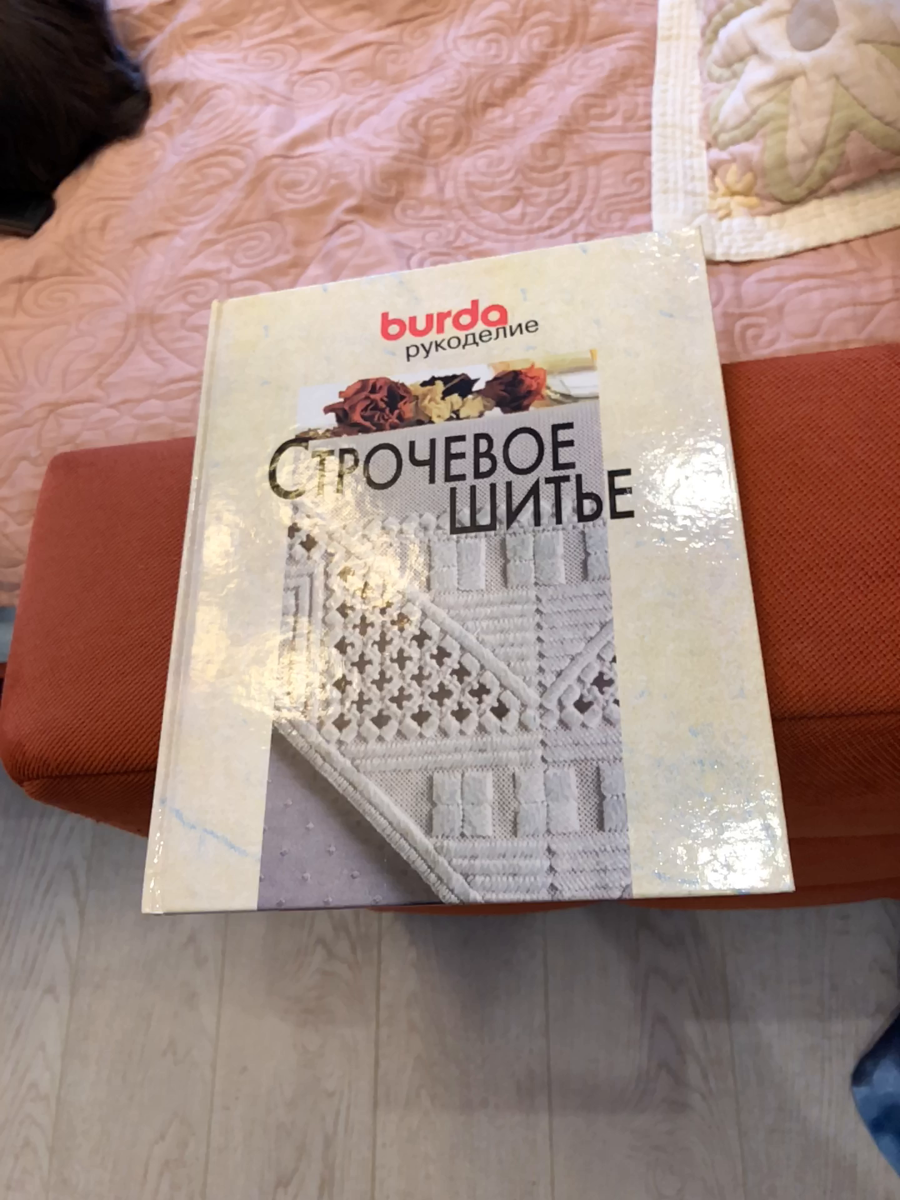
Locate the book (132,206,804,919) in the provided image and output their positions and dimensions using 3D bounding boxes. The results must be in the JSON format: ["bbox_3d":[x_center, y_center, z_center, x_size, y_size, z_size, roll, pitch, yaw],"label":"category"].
[{"bbox_3d":[0.000,-0.020,0.369,0.215,0.020,0.259,-5,67,12],"label":"book"}]
